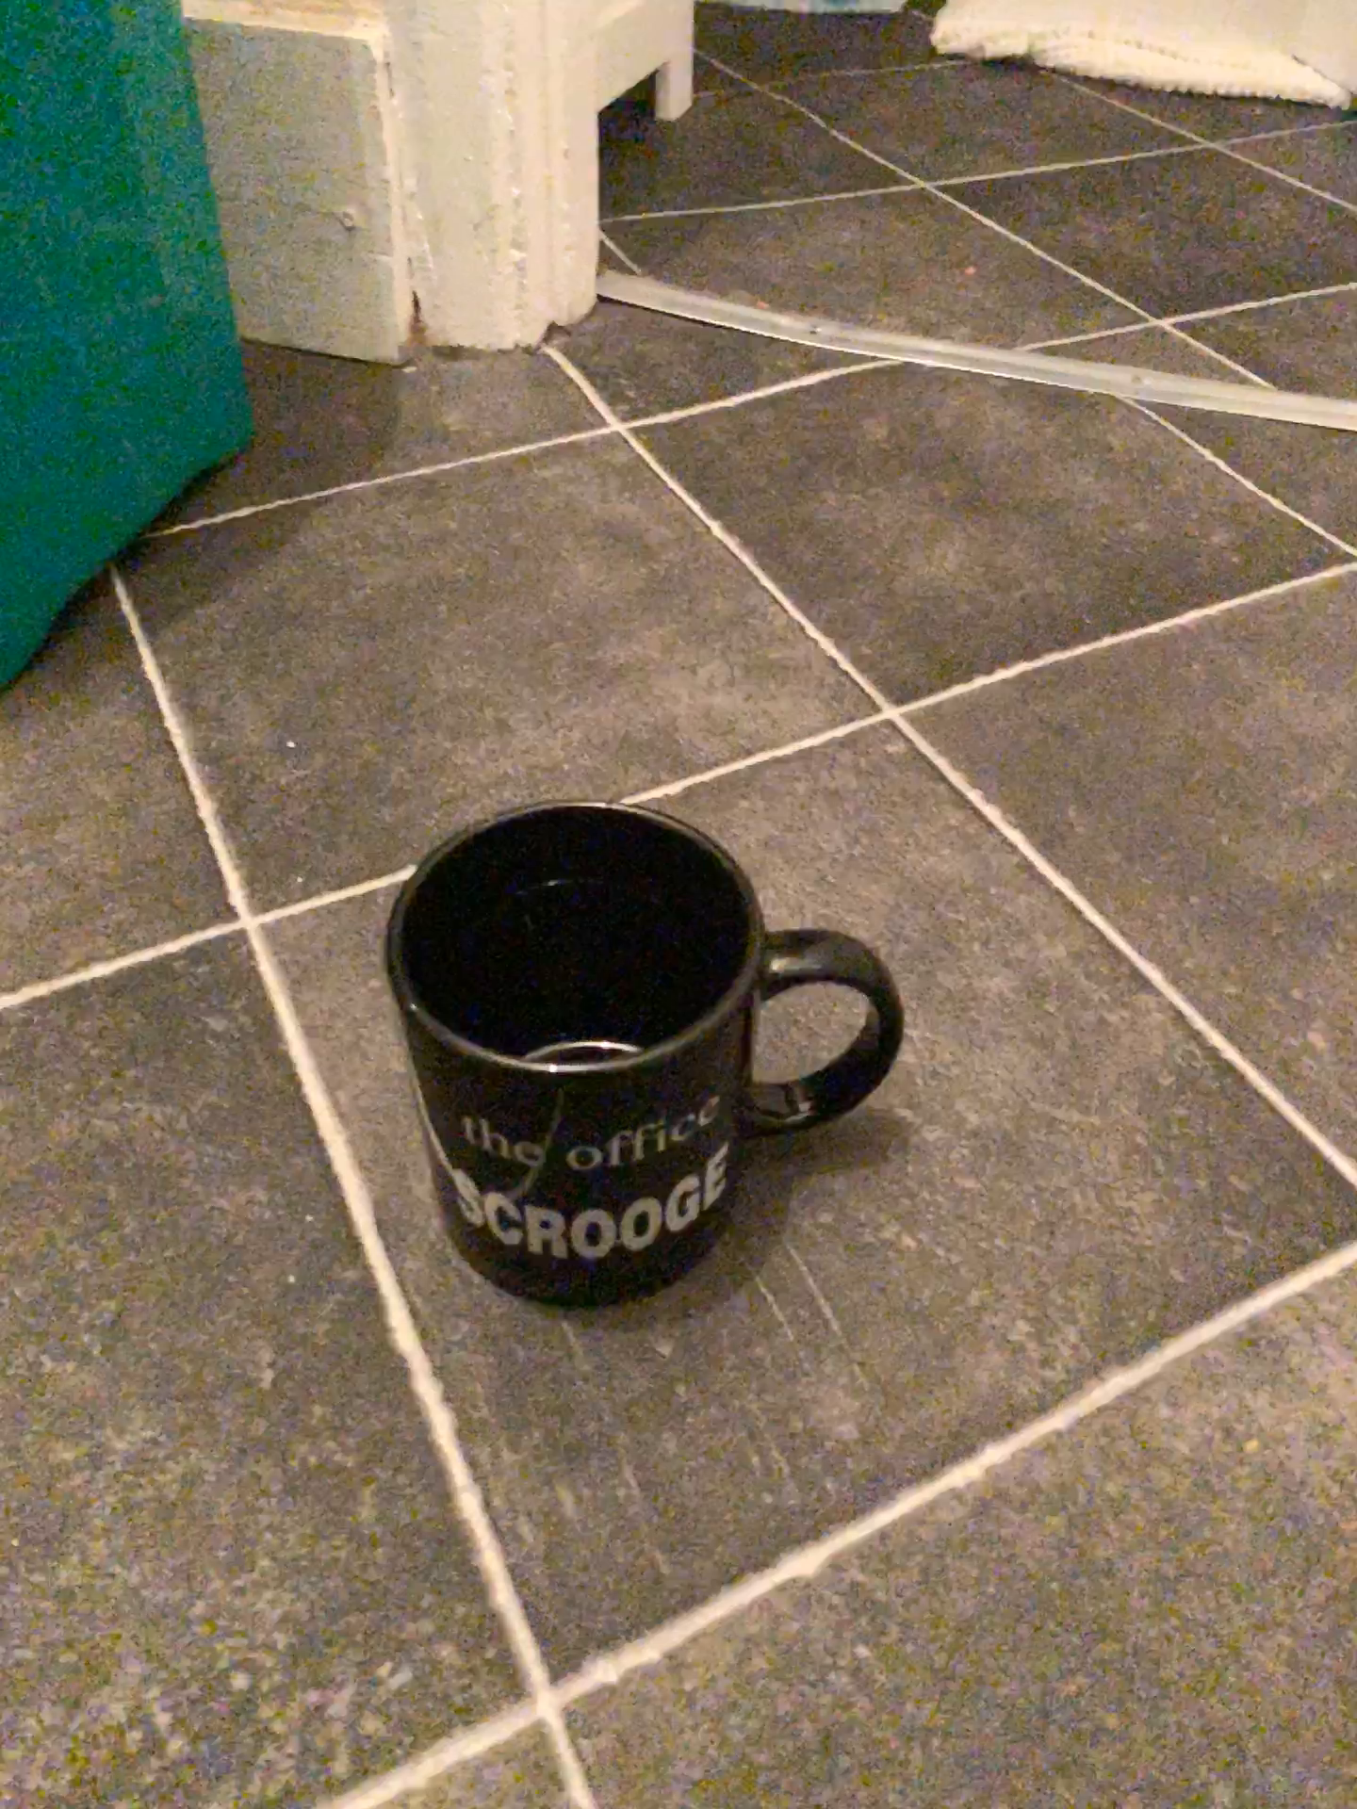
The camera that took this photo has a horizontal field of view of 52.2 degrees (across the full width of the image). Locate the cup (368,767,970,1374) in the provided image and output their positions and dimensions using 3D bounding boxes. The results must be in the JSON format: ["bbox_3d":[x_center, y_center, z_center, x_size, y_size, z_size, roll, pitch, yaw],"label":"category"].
[{"bbox_3d":[-0.008,0.041,0.335,0.117,0.115,0.081,-5,45,-7],"label":"cup"}]
